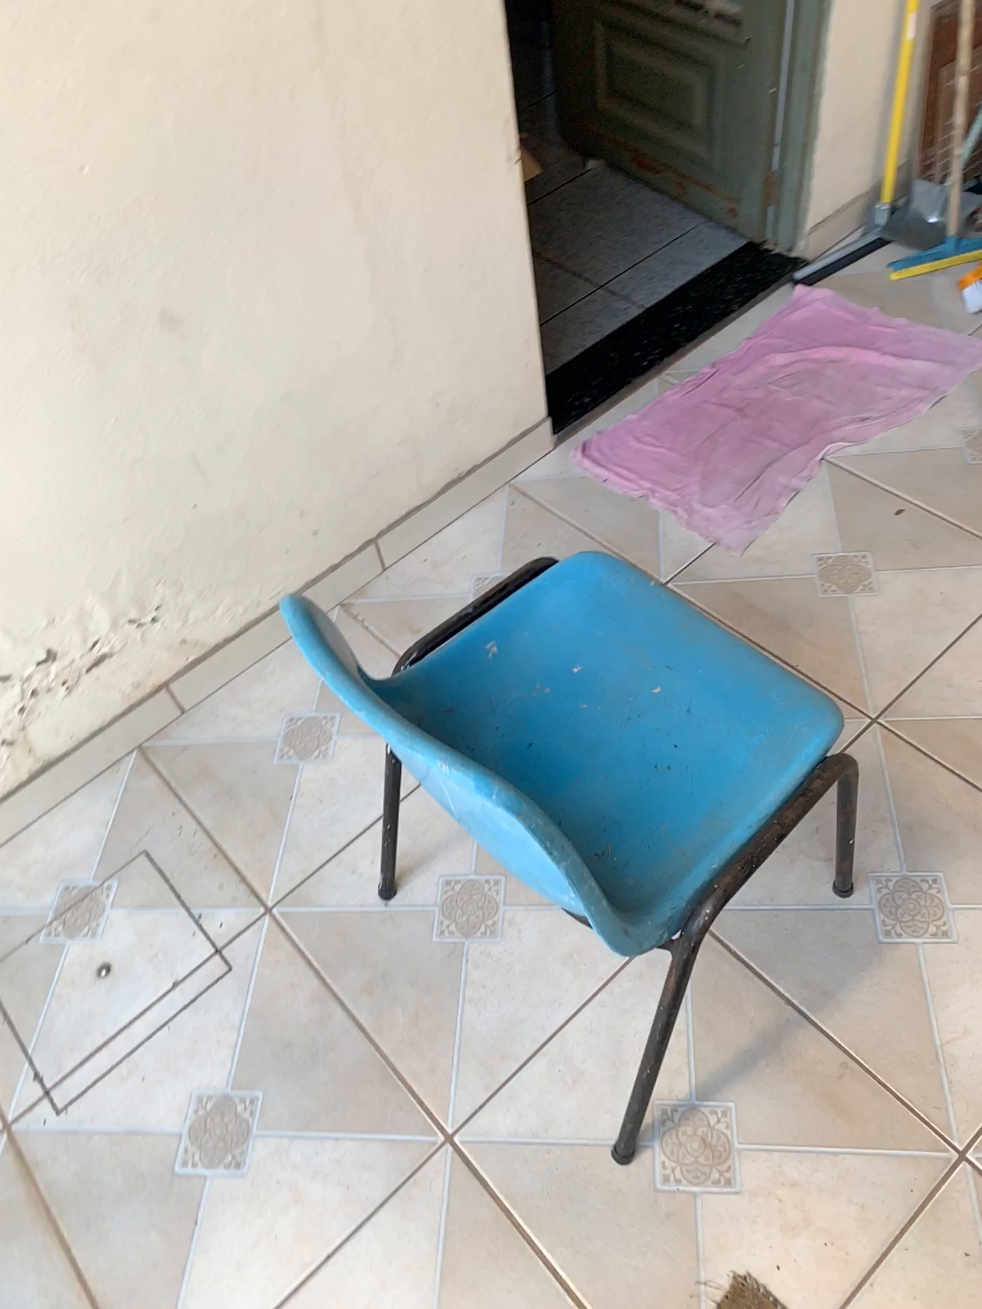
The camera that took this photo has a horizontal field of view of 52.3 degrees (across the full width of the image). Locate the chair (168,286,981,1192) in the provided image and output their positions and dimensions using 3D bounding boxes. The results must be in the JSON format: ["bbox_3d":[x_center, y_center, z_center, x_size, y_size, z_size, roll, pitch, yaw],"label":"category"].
[{"bbox_3d":[0.125,0.108,1.126,0.531,0.687,0.552,-38,56,-20],"label":"chair"}]
